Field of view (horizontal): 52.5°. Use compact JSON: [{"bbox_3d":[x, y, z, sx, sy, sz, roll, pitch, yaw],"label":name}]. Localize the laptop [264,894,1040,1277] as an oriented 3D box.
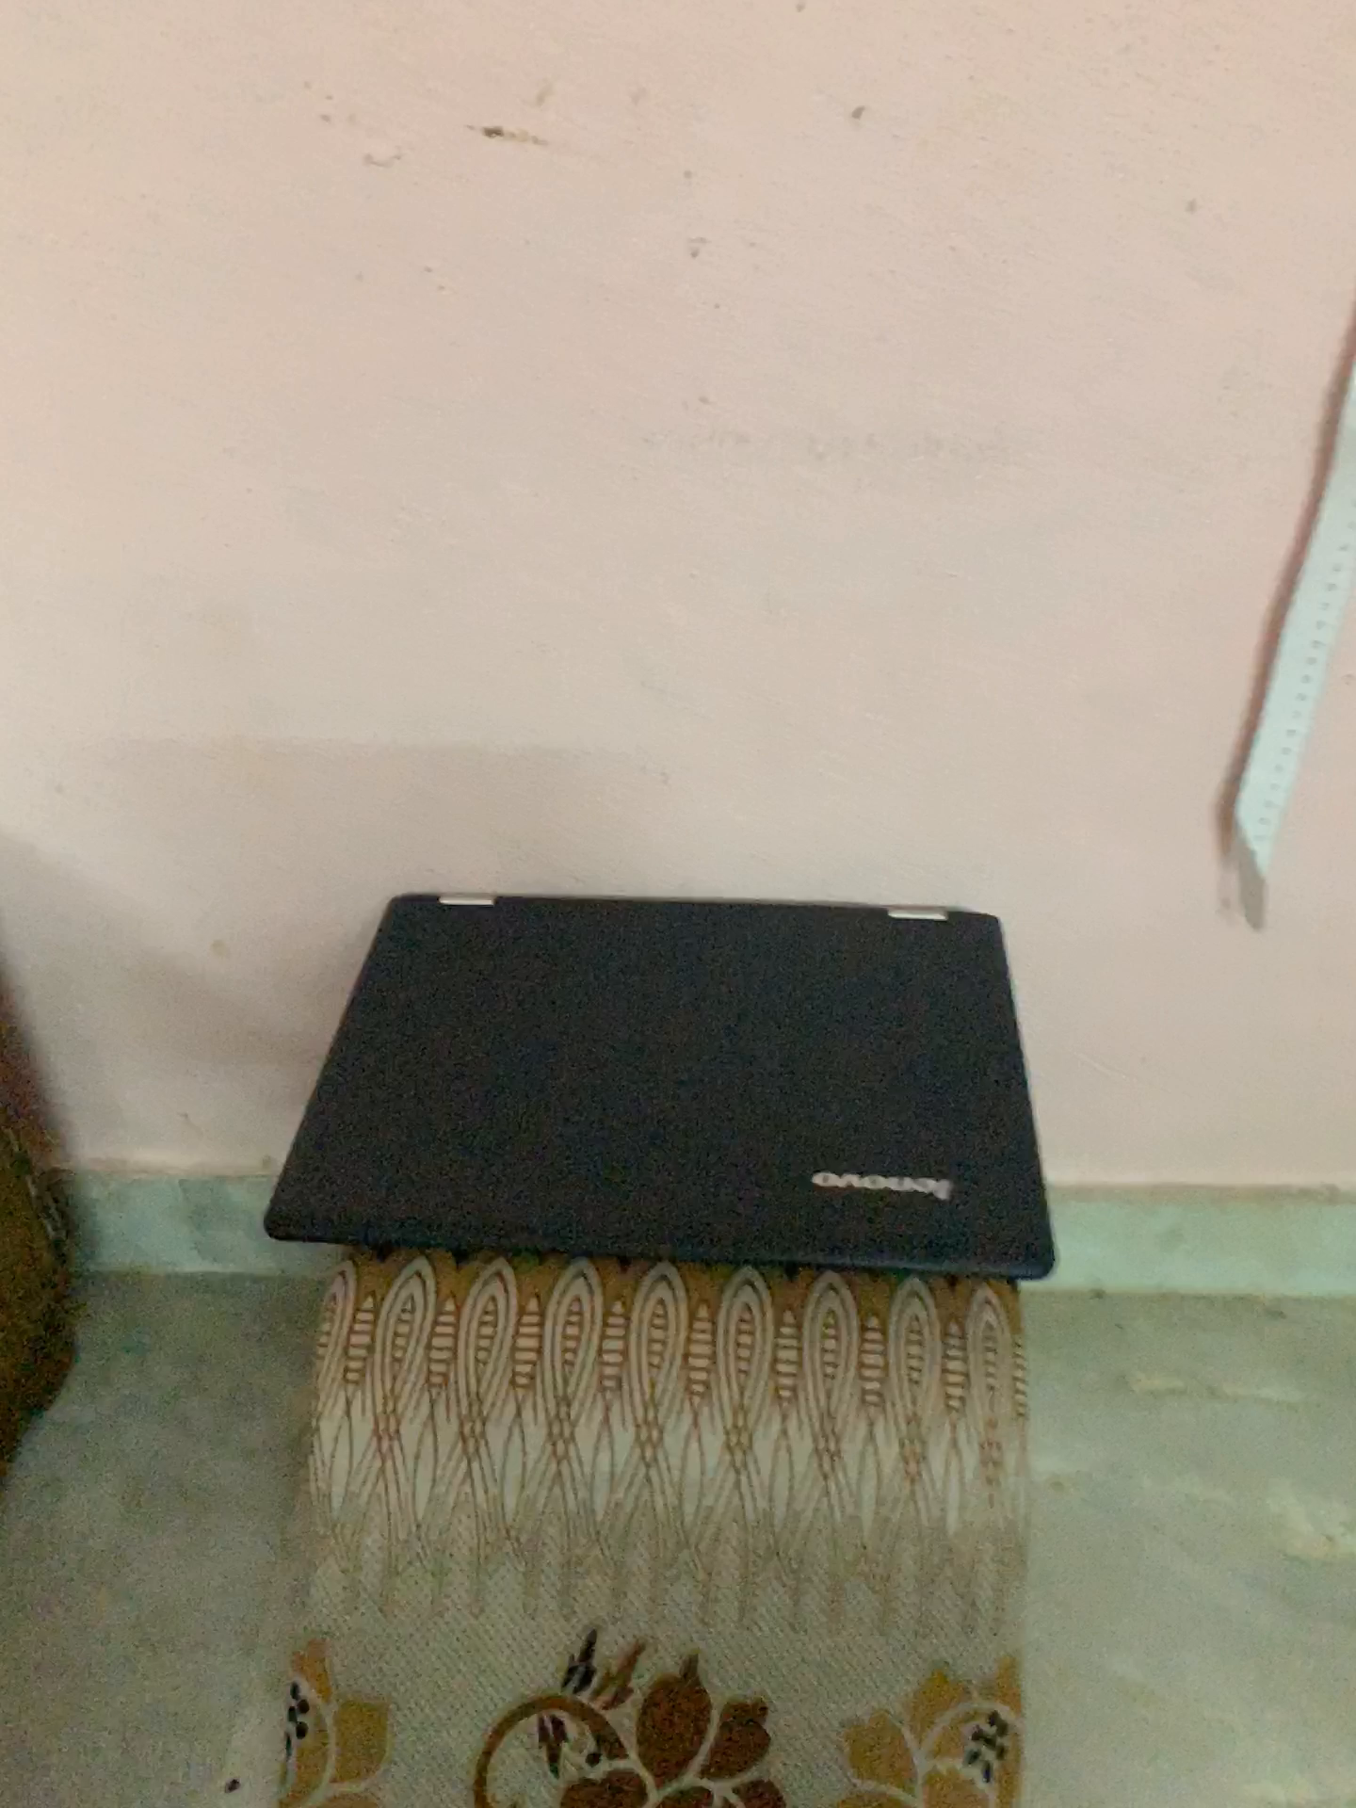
[{"bbox_3d":[-0.003,0.072,0.636,0.312,0.012,0.214,2,40,5],"label":"laptop"}]
